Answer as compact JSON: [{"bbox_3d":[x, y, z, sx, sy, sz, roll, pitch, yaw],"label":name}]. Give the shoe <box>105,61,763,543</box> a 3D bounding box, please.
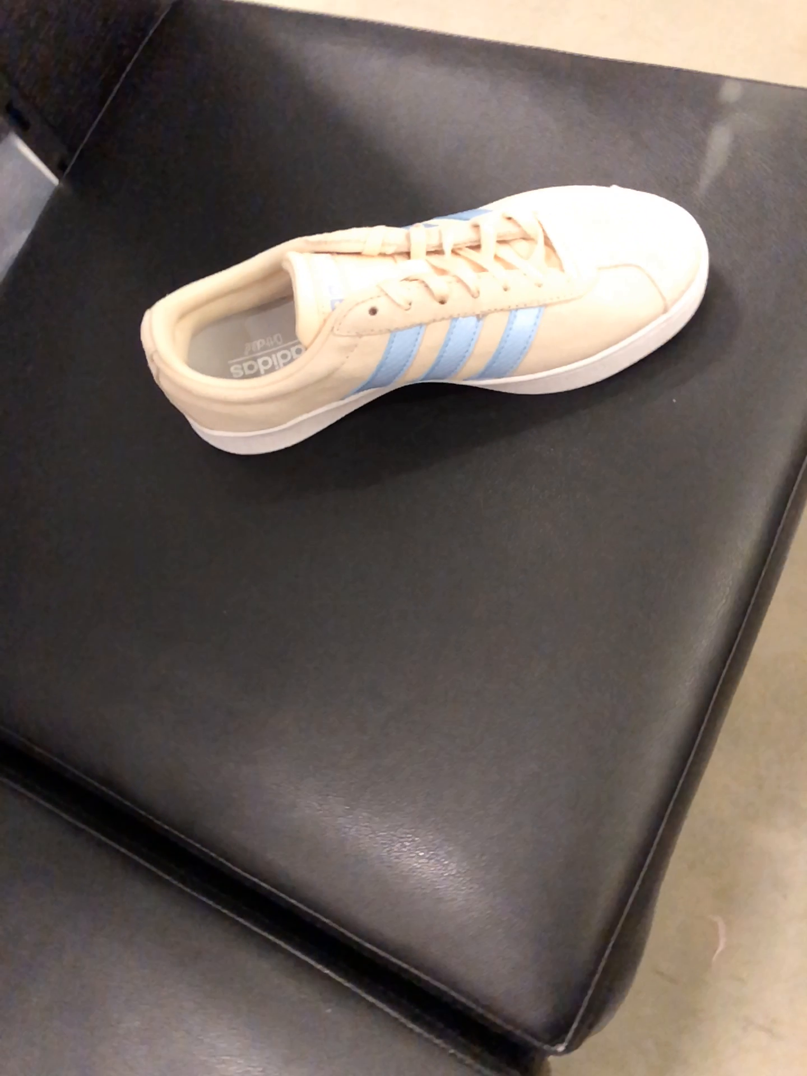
[{"bbox_3d":[0.010,-0.096,0.409,0.260,0.090,0.100,-18,68,9],"label":"shoe"}]
